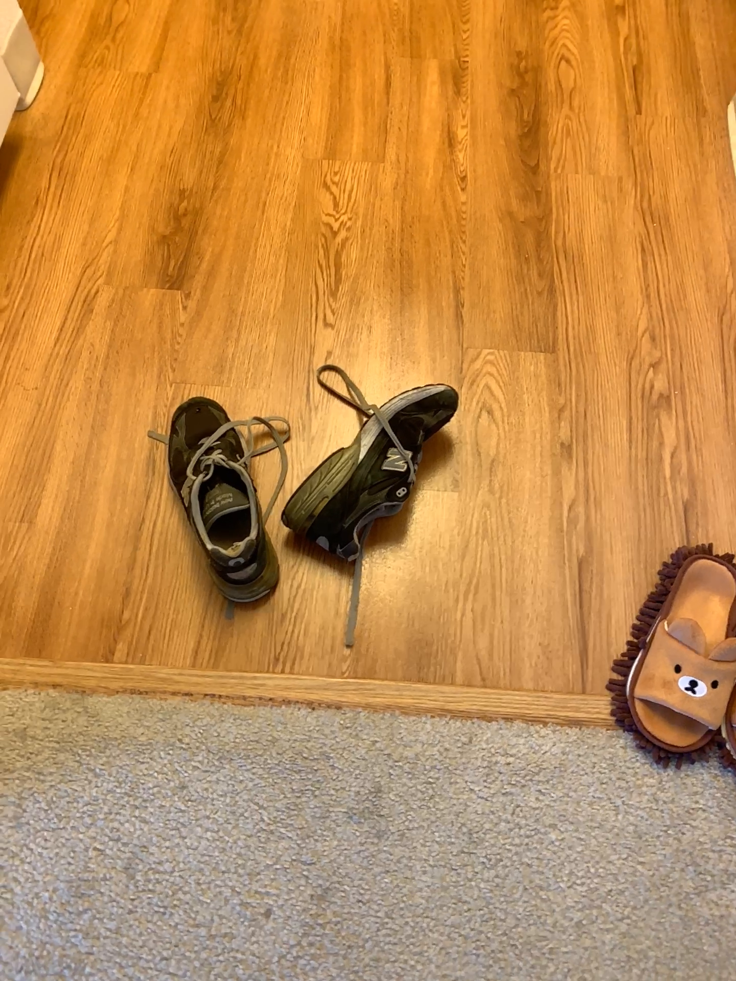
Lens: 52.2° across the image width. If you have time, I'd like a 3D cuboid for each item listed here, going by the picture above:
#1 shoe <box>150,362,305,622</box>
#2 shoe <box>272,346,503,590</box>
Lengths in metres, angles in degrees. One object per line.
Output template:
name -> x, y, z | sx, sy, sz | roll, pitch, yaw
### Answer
shoe -> -0.203, 0.004, 1.101 | 0.120, 0.170, 0.321 | -18, 67, -9
shoe -> 0.037, -0.035, 1.048 | 0.120, 0.130, 0.320 | 38, 70, 26
